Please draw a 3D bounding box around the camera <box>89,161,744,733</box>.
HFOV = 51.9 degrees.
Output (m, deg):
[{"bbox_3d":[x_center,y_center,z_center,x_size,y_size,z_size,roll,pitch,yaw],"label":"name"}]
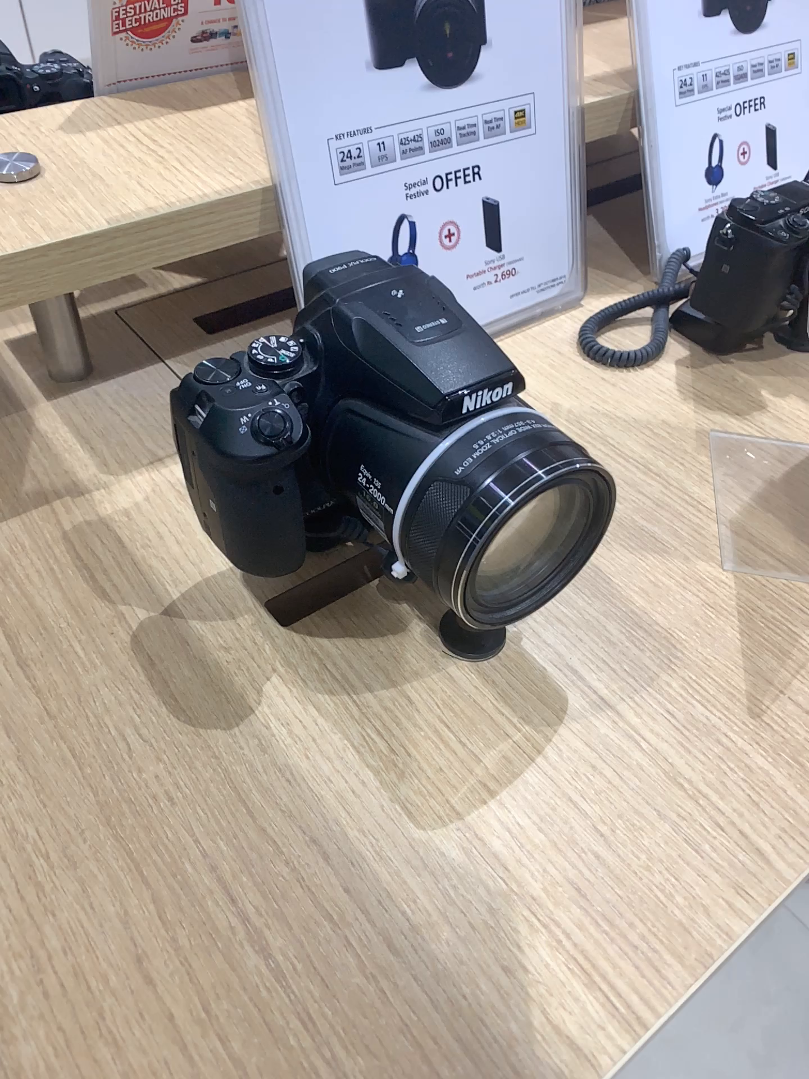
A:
[{"bbox_3d":[-0.002,-0.046,0.289,0.140,0.090,0.150,-27,53,-27],"label":"camera"}]
